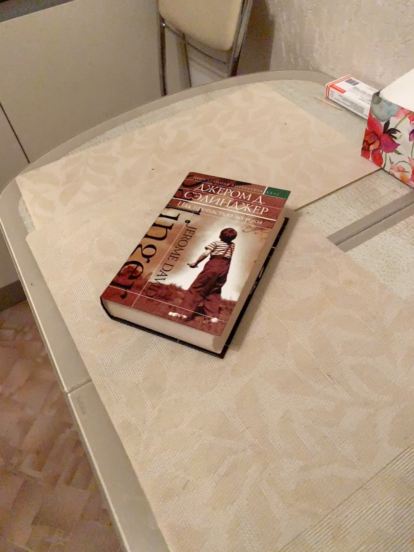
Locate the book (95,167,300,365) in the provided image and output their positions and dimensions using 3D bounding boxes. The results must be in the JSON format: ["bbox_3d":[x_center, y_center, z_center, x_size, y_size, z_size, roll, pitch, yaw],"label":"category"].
[{"bbox_3d":[0.000,-0.027,0.491,0.150,0.049,0.221,16,56,21],"label":"book"}]
